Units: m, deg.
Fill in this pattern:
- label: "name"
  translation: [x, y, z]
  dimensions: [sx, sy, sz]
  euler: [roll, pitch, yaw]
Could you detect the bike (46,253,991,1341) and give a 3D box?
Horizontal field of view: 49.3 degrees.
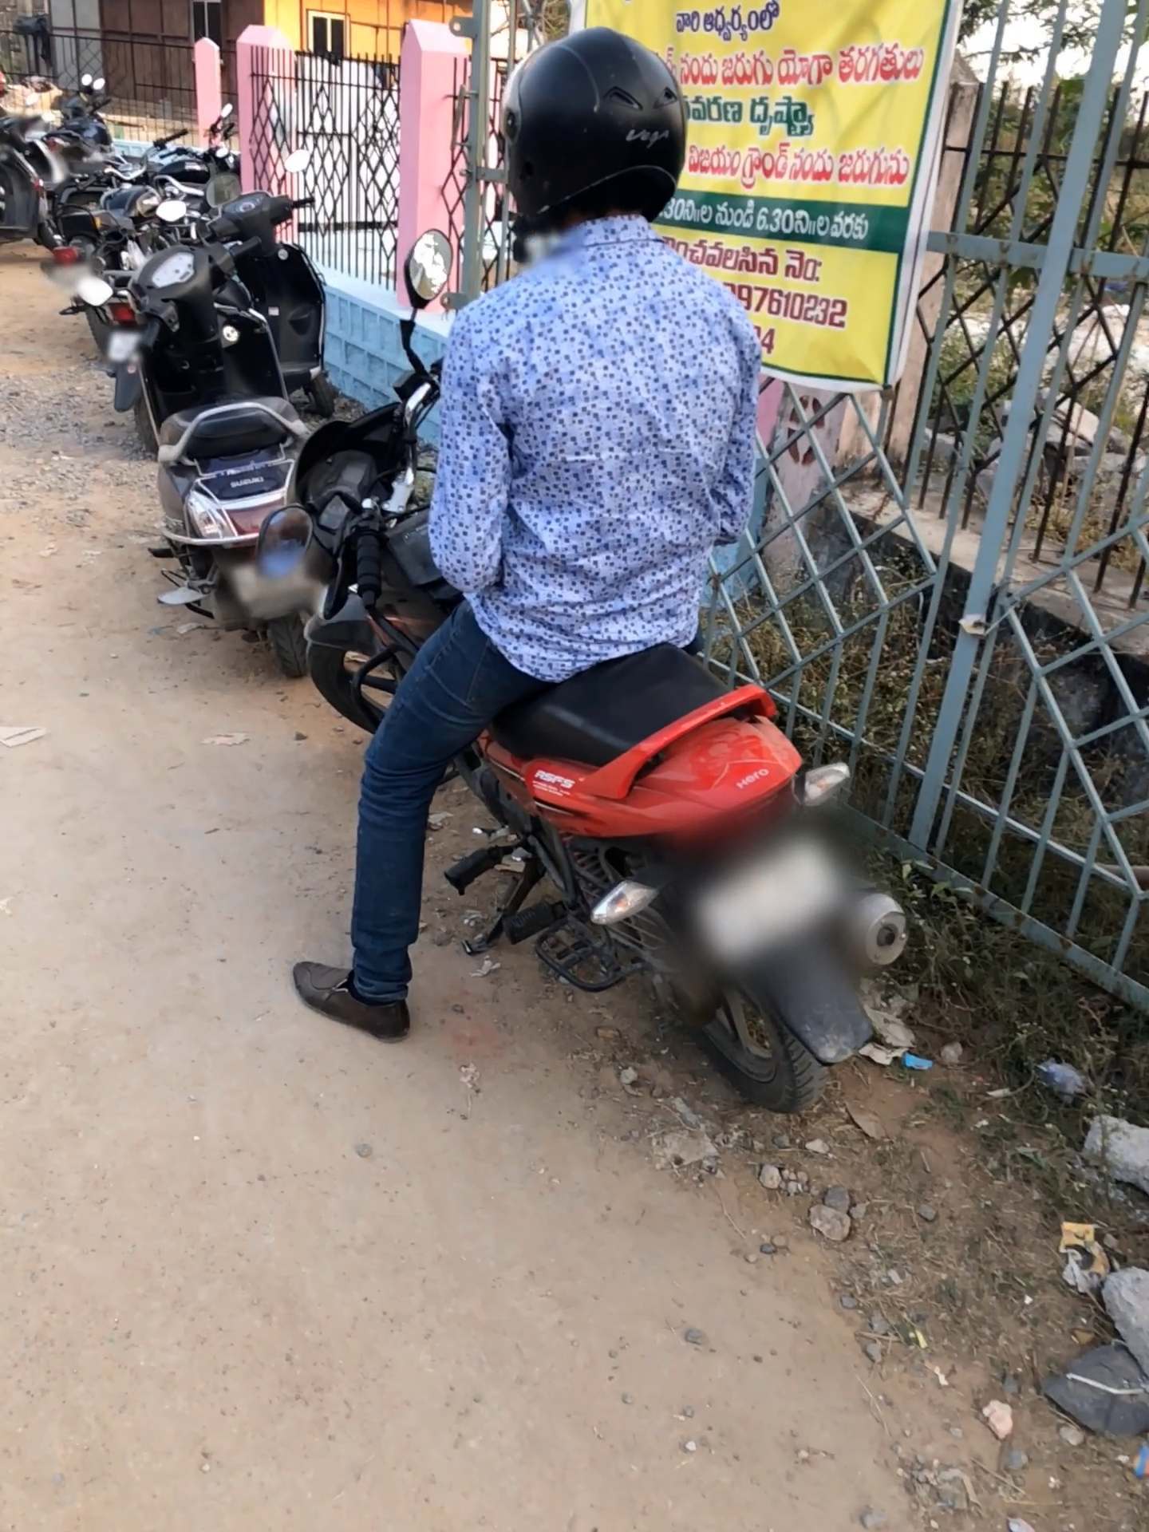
- label: "bike"
  translation: [-0.290, -0.130, 2.232]
  dimensions: [0.583, 1.176, 1.693]
  euler: [-16, 35, -35]
